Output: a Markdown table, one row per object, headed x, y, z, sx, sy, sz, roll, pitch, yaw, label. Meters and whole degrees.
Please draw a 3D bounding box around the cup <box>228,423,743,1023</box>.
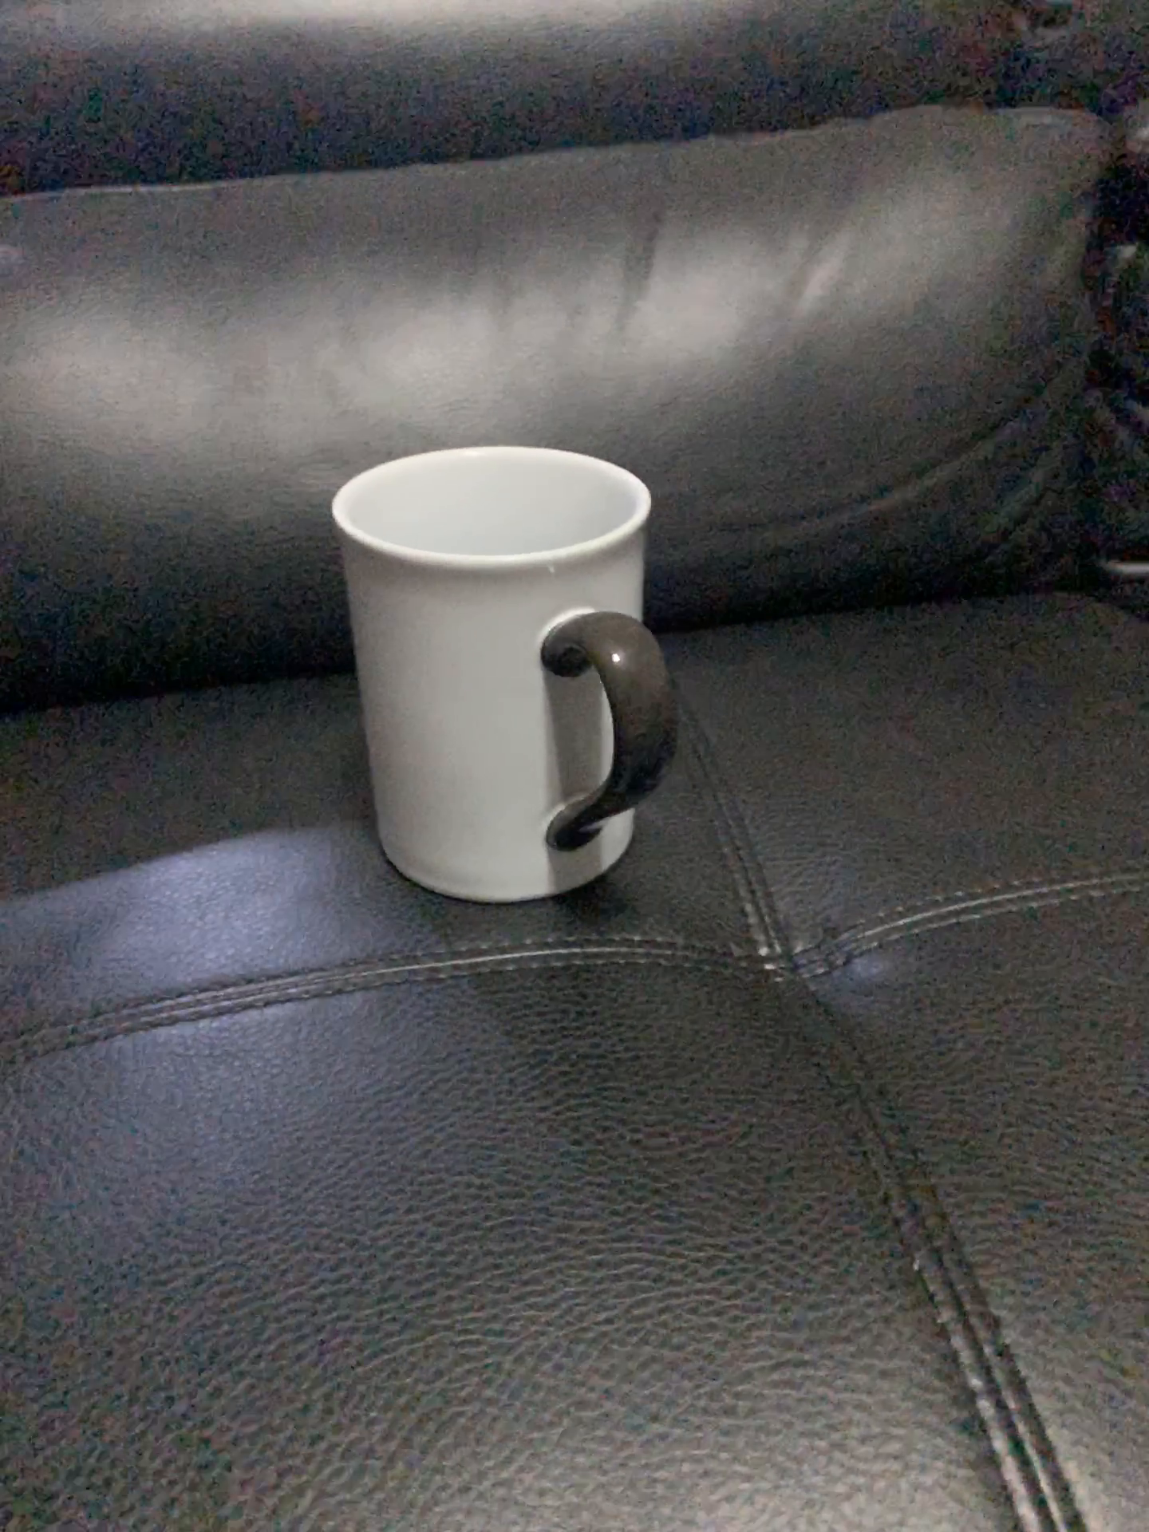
| x | y | z | sx | sy | sz | roll | pitch | yaw | label |
| --- | --- | --- | --- | --- | --- | --- | --- | --- | --- |
| -0.028 | -0.022 | 0.345 | 0.093 | 0.115 | 0.124 | -17 | 32 | -25 | cup |
